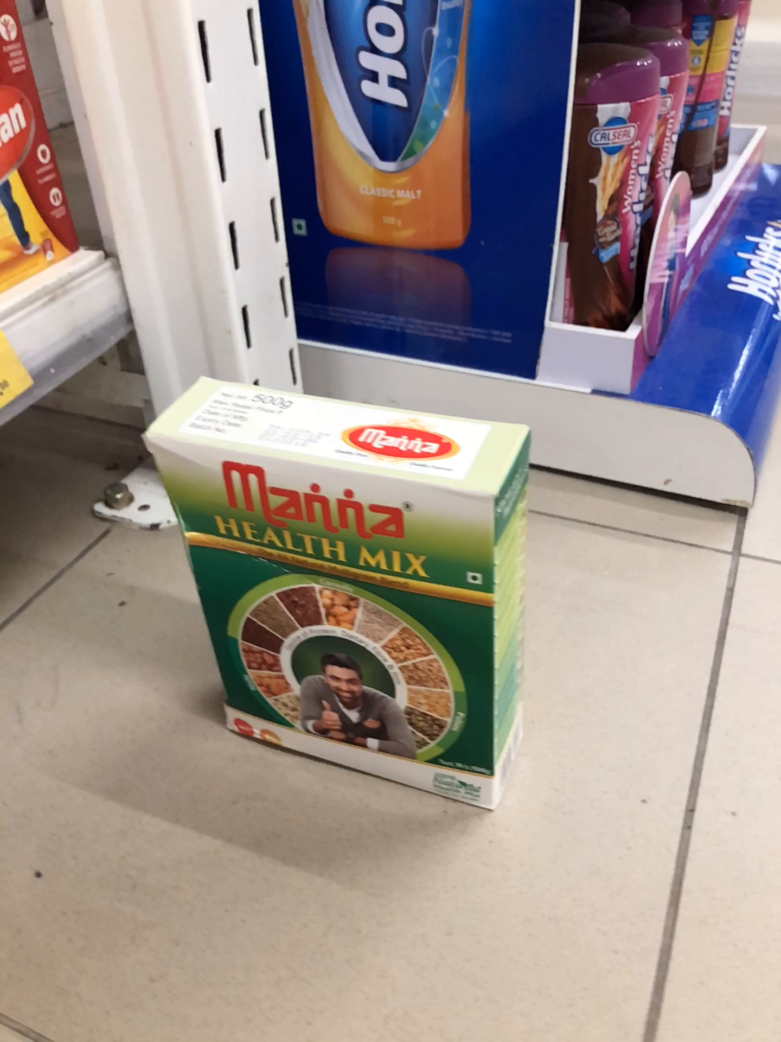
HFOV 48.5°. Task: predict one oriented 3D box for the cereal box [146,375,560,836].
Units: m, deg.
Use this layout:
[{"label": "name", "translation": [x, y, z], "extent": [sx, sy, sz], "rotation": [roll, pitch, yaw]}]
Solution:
[{"label": "cereal box", "translation": [-0.010, 0.041, 0.384], "extent": [0.150, 0.189, 0.050], "rotation": [10, 38, 18]}]
